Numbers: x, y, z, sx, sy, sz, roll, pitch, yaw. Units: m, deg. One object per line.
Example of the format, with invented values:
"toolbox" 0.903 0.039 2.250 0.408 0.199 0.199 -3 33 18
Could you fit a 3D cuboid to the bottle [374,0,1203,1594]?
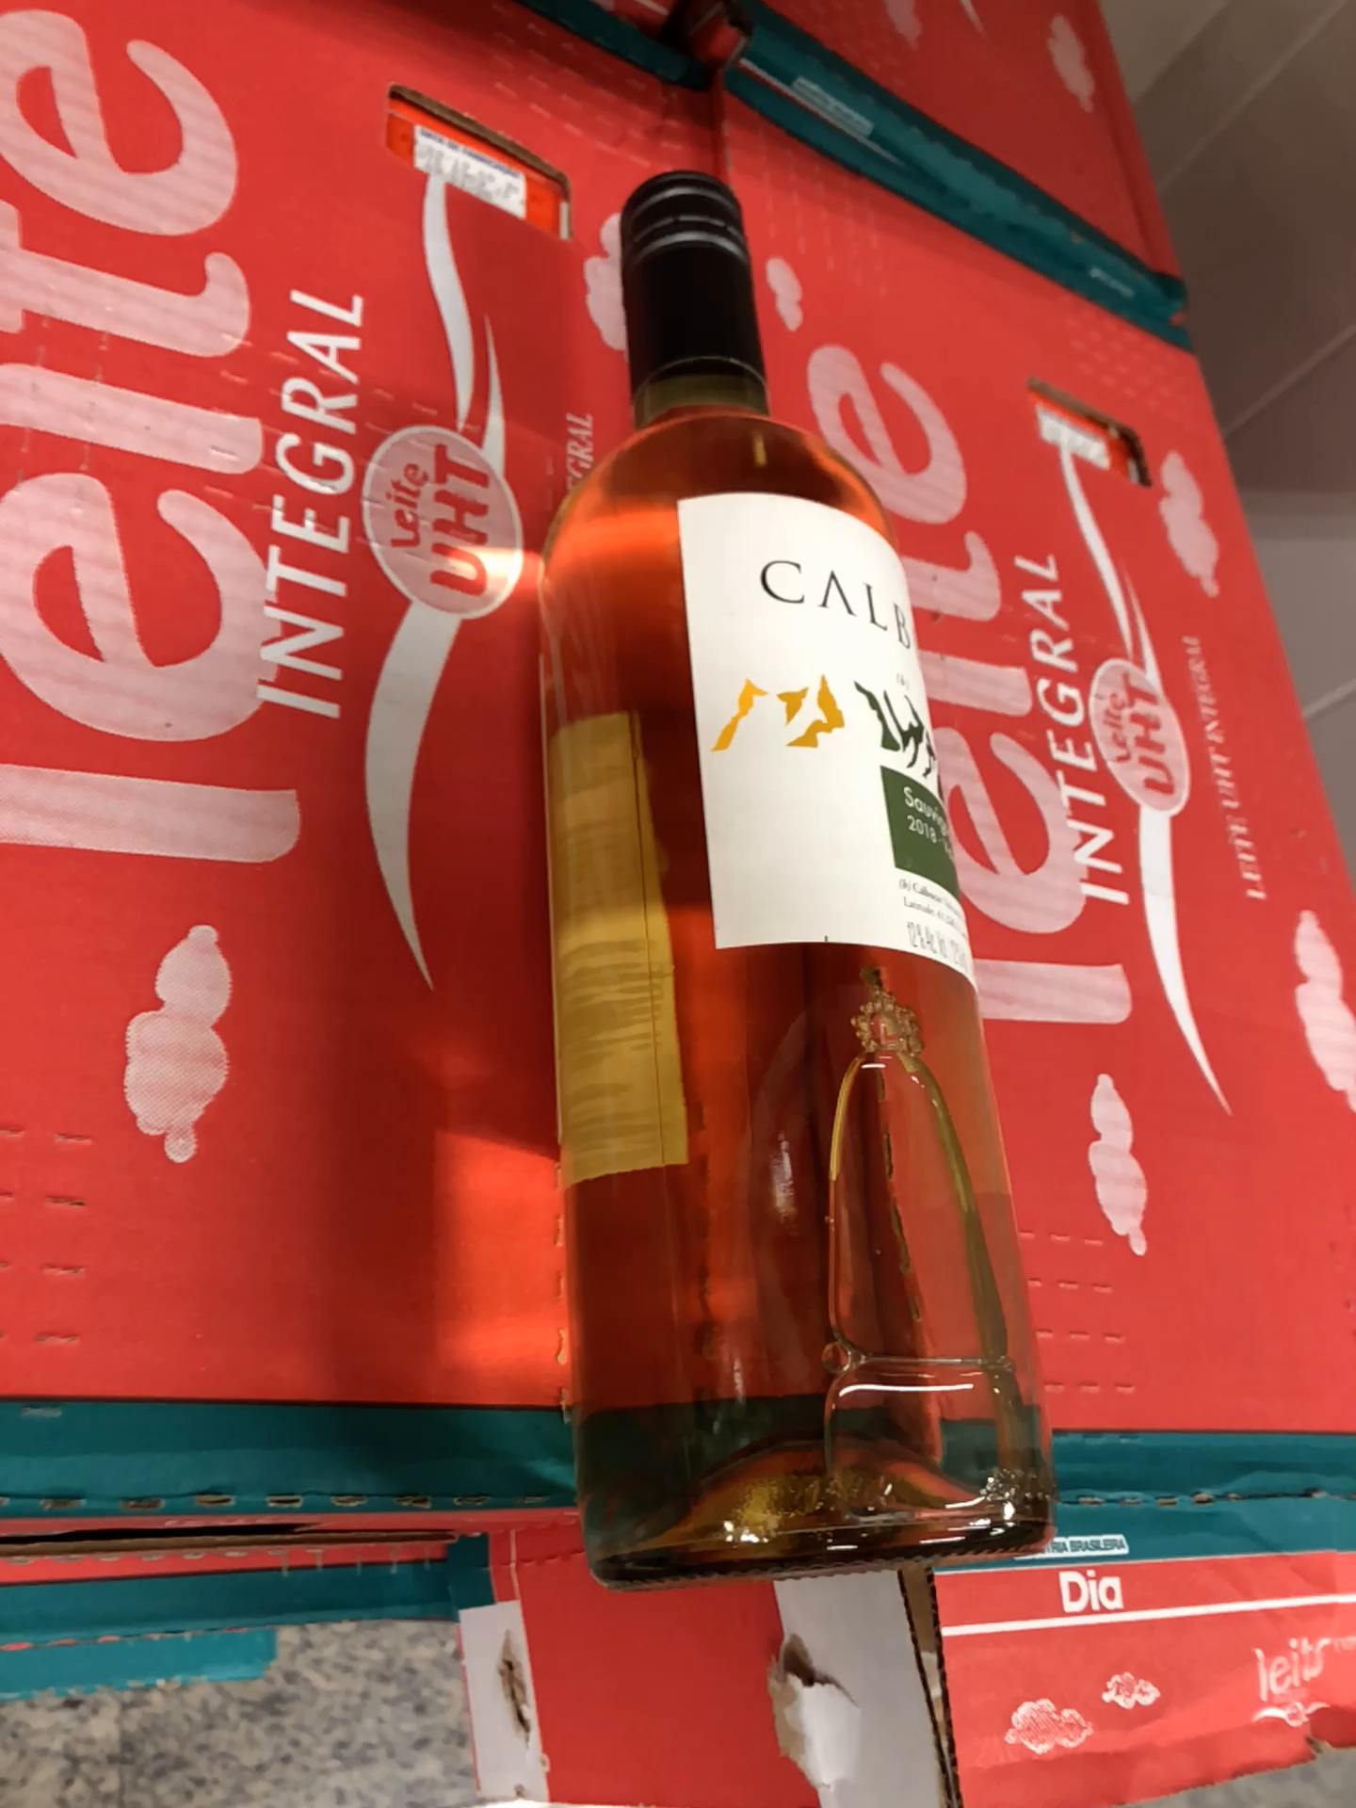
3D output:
"bottle" 0.015 -0.035 0.283 0.090 0.100 0.291 42 40 -59
